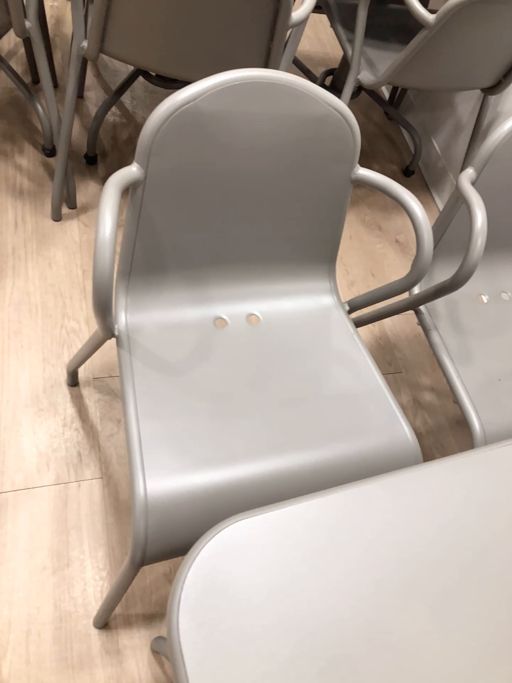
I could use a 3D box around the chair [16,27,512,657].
[{"bbox_3d":[-0.059,0.070,0.855,0.480,0.707,0.612,-5,62,-20],"label":"chair"}]
